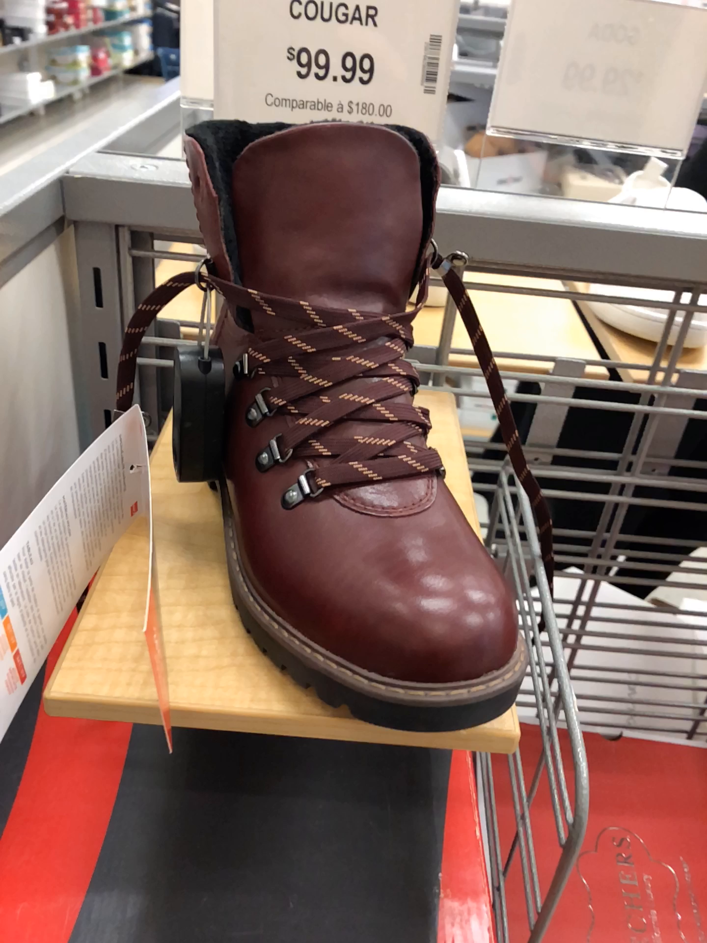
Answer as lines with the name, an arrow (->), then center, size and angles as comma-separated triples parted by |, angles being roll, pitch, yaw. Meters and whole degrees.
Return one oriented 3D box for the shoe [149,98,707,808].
shoe -> 0.000, -0.033, 0.311 | 0.107, 0.169, 0.231 | -9, 36, -23
